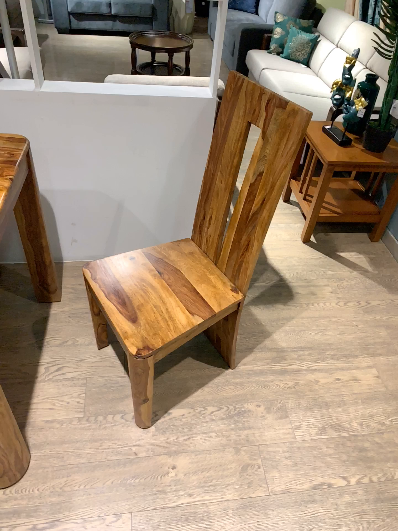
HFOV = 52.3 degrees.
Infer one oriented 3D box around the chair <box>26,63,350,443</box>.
[{"bbox_3d":[-0.069,-0.025,1.293,0.601,0.966,0.501,-22,49,-28],"label":"chair"}]
